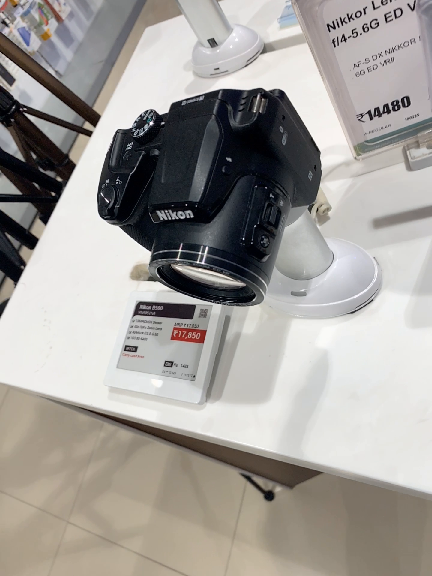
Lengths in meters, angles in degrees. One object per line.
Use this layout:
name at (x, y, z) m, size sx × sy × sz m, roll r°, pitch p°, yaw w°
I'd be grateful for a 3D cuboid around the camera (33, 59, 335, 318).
camera at (-0.013, -0.040, 0.221) m, size 0.113 × 0.070 × 0.083 m, roll 3°, pitch 70°, yaw 33°
